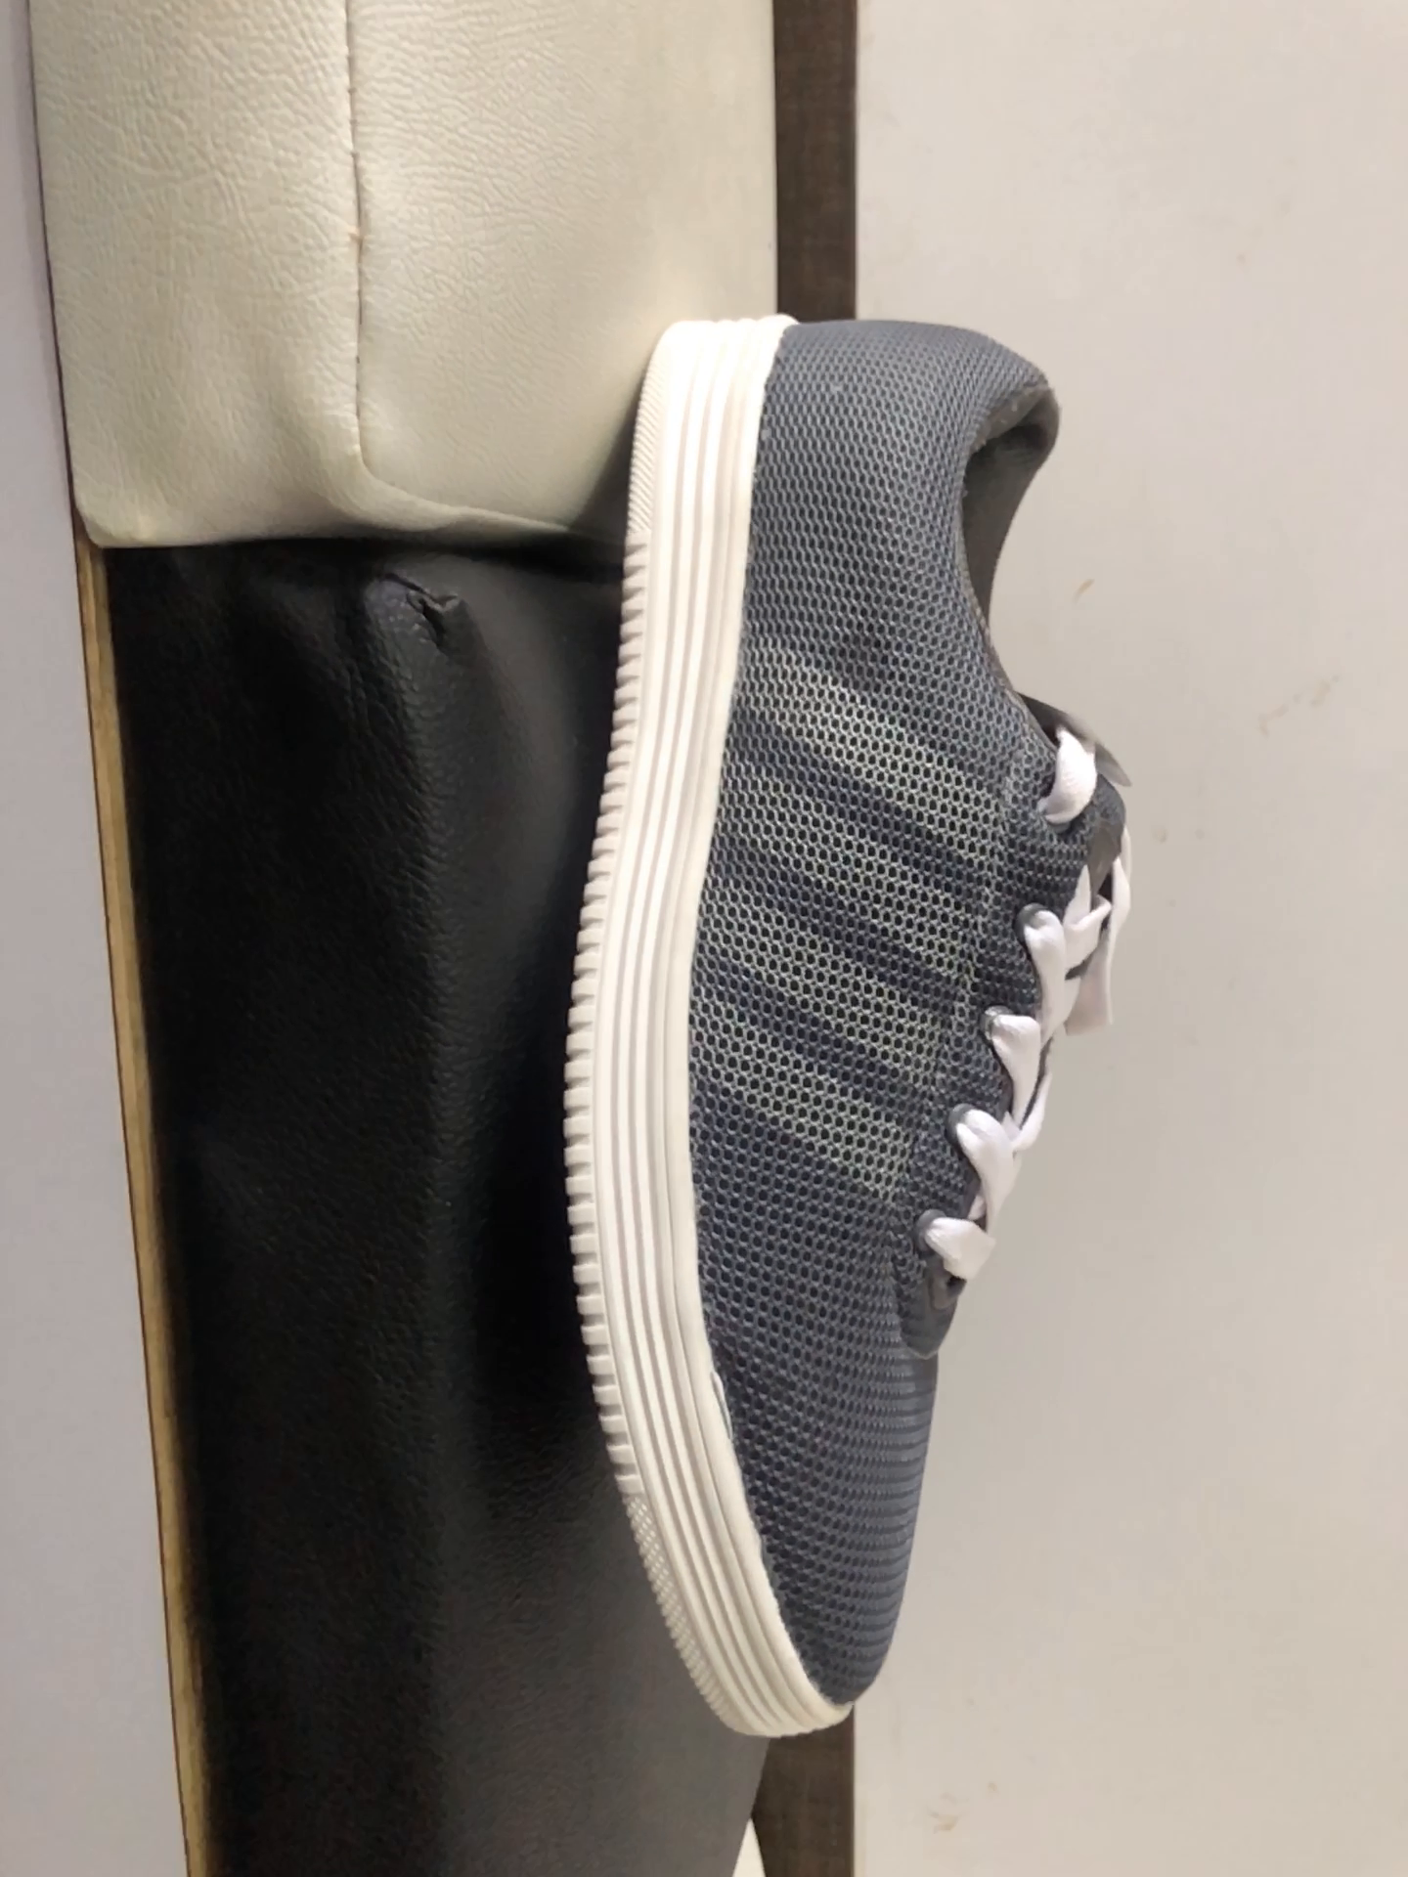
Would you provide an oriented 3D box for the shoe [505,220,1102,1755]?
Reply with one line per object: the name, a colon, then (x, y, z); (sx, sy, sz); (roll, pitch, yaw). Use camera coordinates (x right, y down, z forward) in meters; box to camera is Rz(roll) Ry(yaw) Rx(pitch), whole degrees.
shoe: (0.035, 0.003, 0.356); (0.100, 0.100, 0.300); (51, 42, -71)
